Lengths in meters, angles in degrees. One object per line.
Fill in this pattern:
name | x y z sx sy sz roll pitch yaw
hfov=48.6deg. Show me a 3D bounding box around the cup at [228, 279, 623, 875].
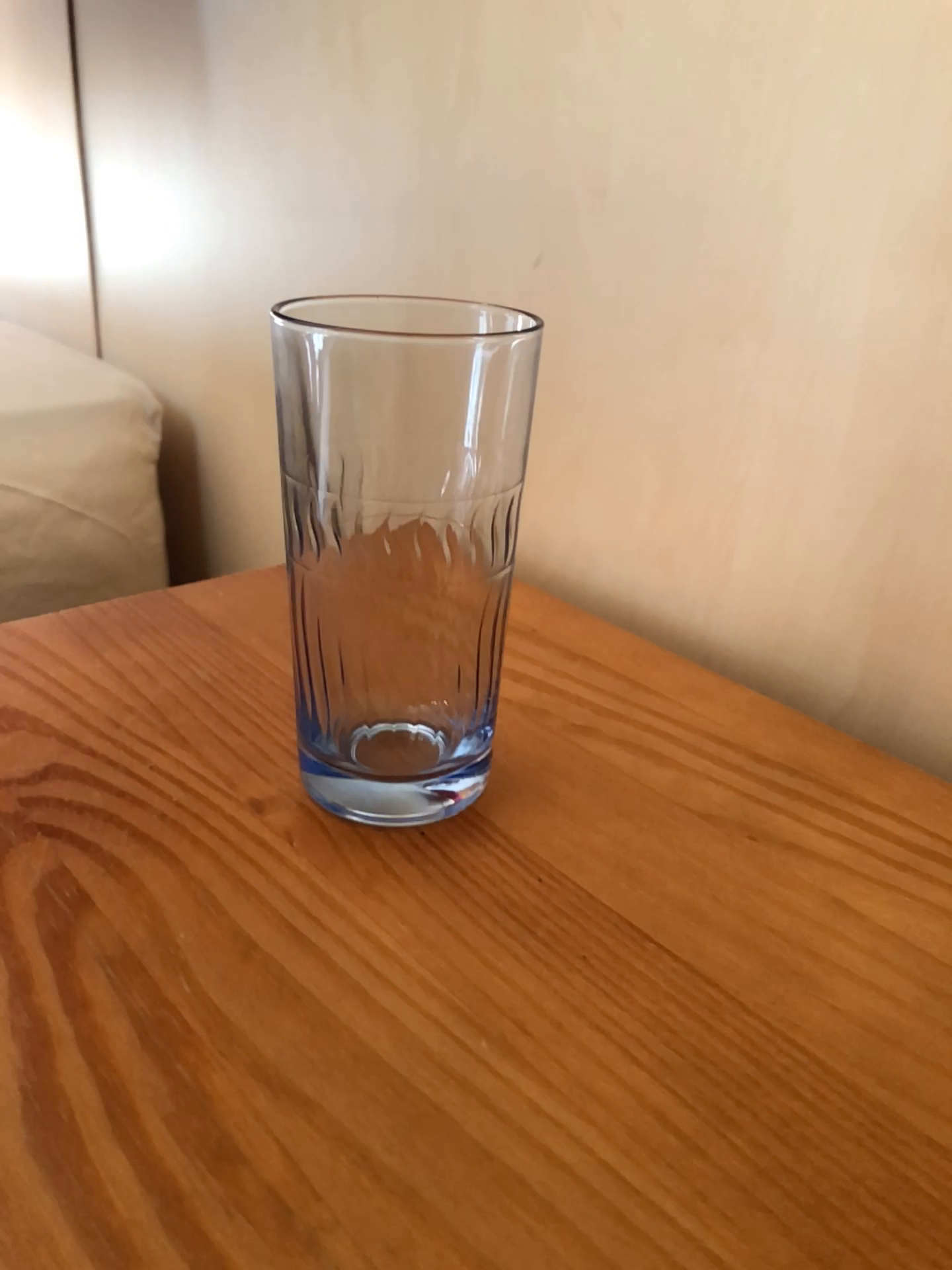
cup | -0.012 -0.020 0.281 0.070 0.129 0.076 3 24 -2
